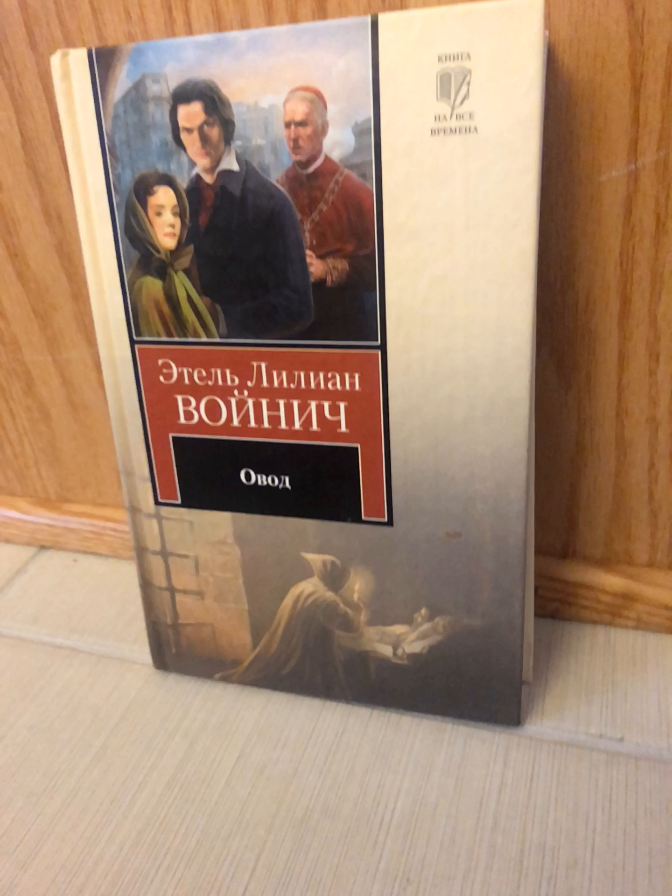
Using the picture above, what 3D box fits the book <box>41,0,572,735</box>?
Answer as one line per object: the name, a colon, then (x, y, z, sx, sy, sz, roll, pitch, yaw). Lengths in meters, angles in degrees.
book: (-0.005, -0.015, 0.234, 0.139, 0.203, 0.030, 3, 21, 19)
